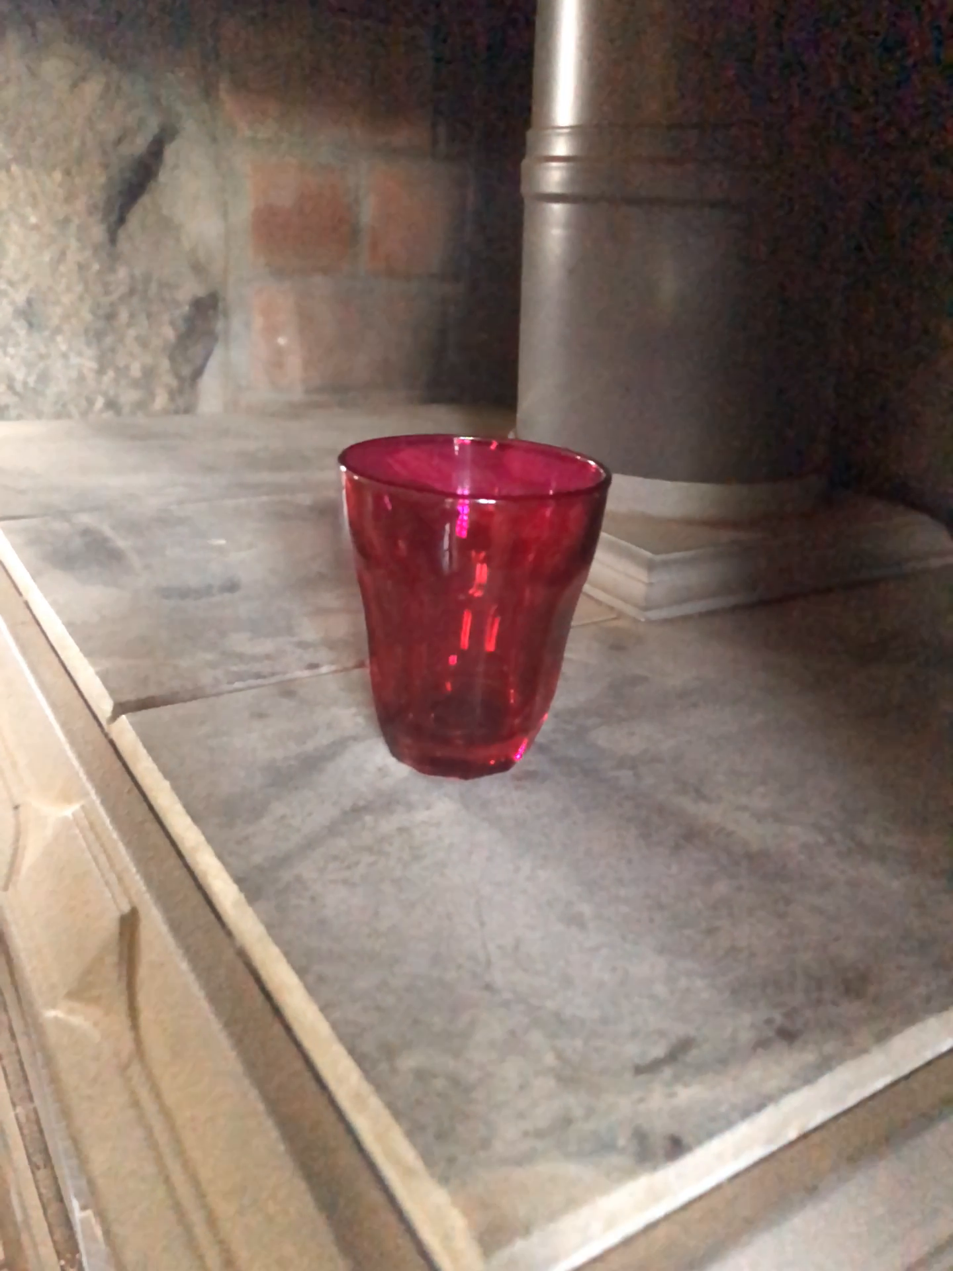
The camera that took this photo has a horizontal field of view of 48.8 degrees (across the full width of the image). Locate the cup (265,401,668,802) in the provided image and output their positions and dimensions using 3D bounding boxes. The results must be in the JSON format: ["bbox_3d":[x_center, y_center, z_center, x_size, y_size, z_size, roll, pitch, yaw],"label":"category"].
[{"bbox_3d":[-0.004,-0.016,0.291,0.080,0.080,0.070,-17,29,-42],"label":"cup"}]
